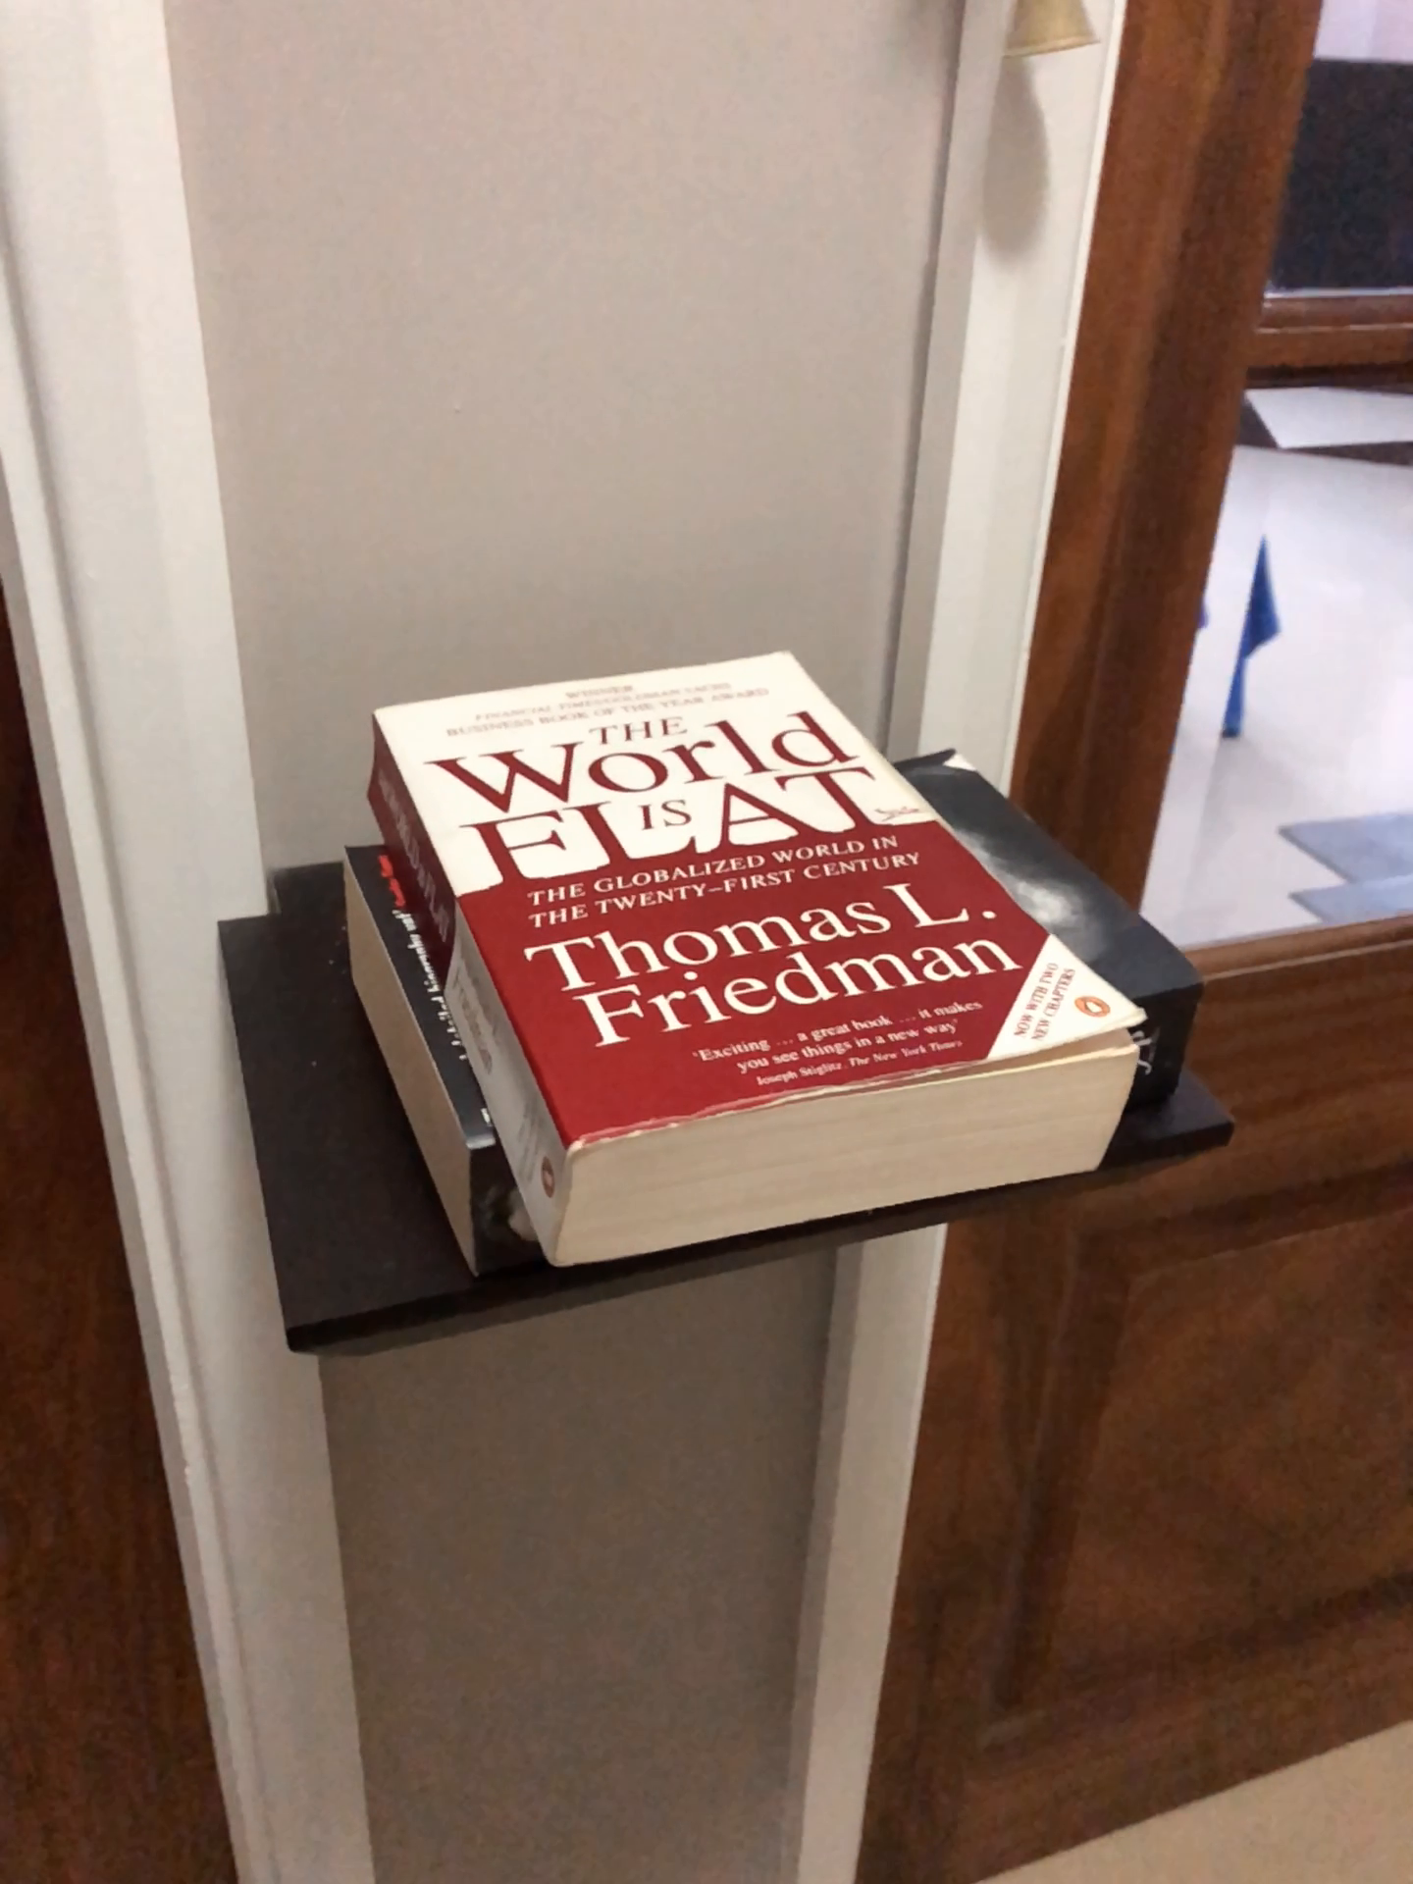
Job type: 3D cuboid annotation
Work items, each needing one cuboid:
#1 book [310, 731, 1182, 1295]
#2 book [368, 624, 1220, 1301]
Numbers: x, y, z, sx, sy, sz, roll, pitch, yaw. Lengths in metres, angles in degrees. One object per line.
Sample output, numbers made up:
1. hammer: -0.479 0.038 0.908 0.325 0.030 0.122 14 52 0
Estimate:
1. book: 0.005 0.006 0.448 0.200 0.040 0.151 -10 41 -24
2. book: 0.004 -0.015 0.394 0.140 0.040 0.211 -10 35 -16
